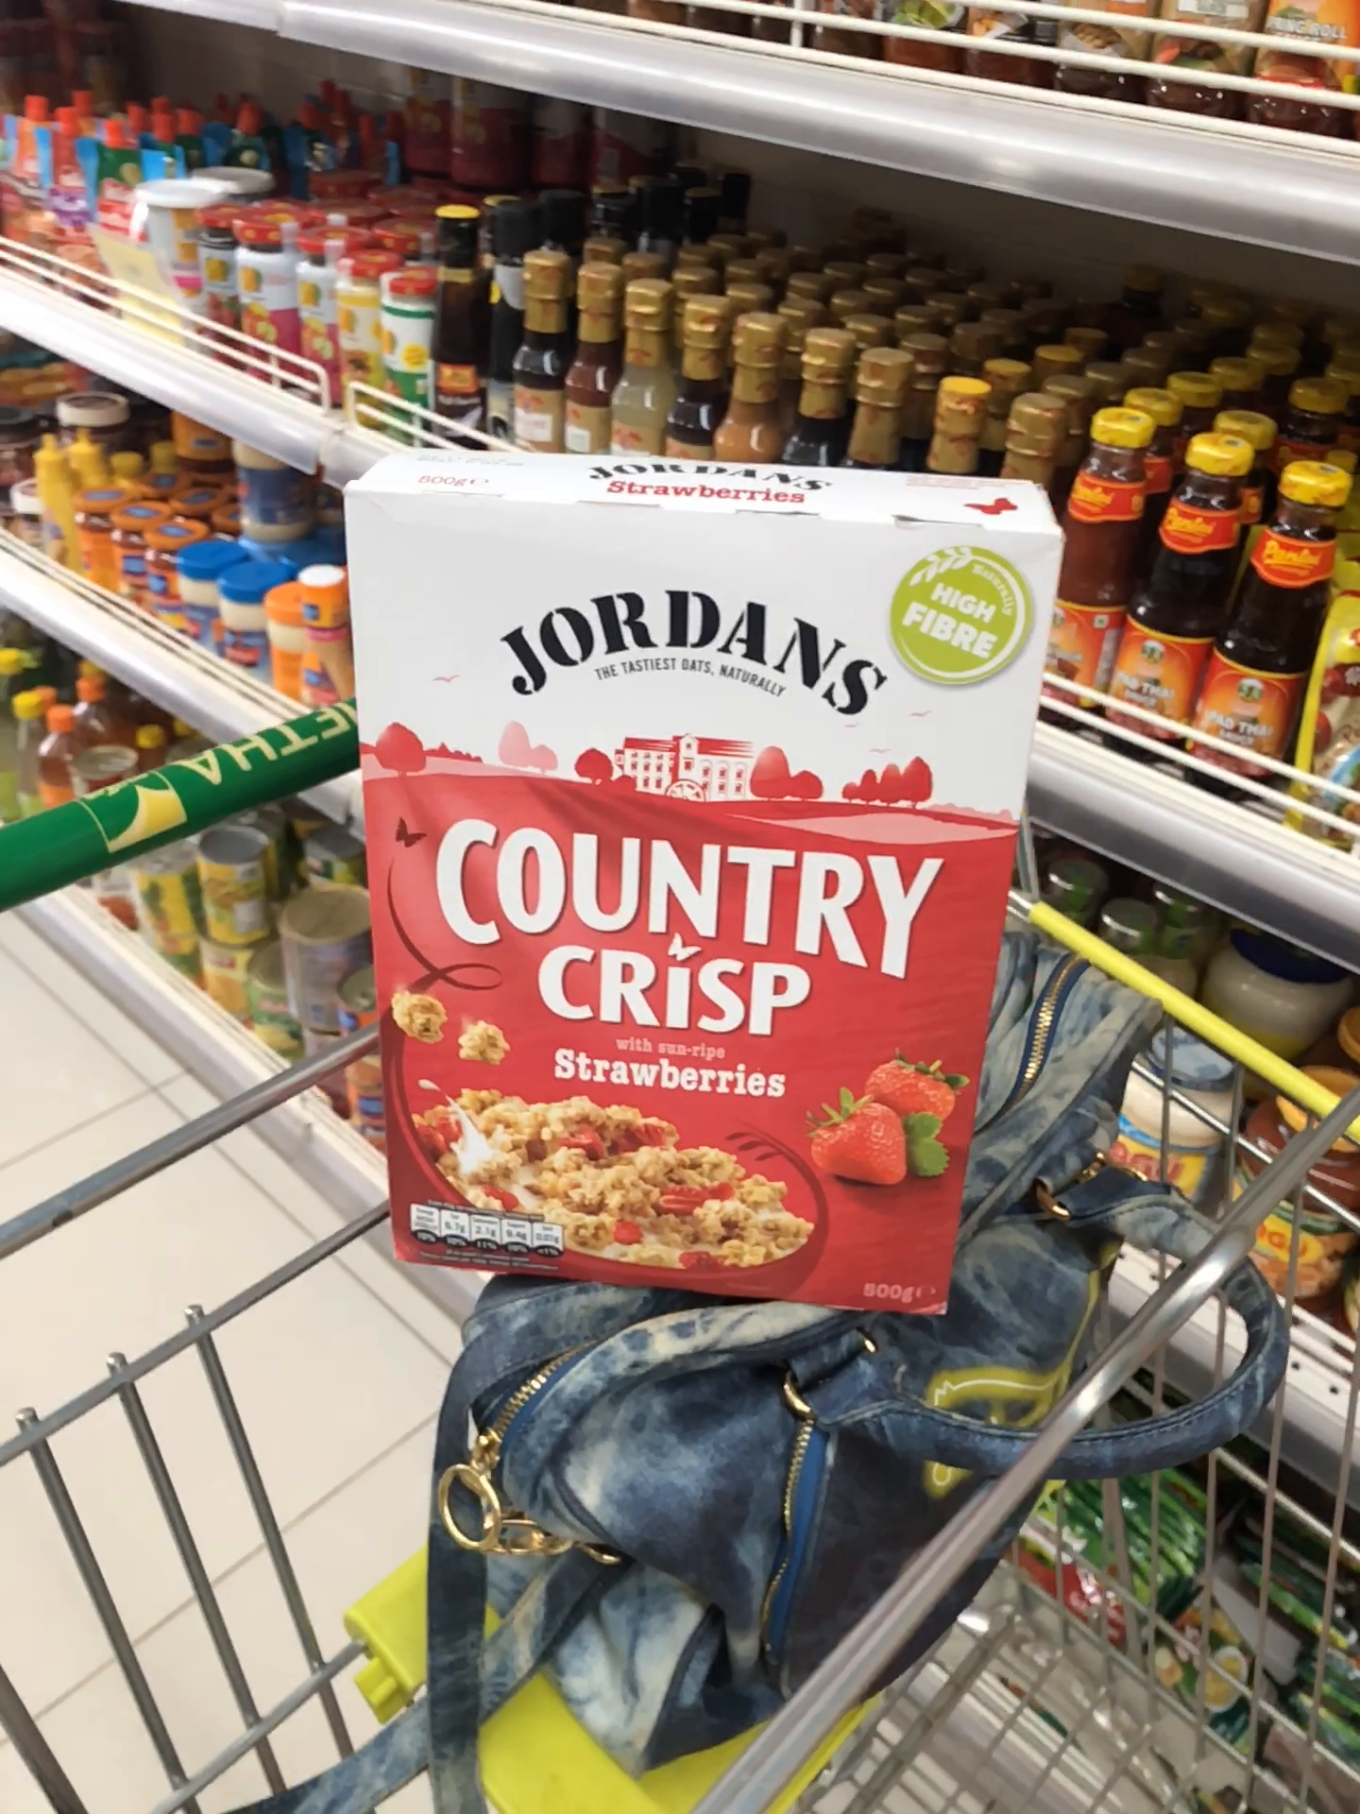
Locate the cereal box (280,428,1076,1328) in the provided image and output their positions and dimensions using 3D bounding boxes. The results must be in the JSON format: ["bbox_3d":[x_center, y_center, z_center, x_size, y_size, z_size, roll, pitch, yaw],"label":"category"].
[{"bbox_3d":[-0.006,0.000,0.445,0.190,0.249,0.060,5,29,3],"label":"cereal box"}]
